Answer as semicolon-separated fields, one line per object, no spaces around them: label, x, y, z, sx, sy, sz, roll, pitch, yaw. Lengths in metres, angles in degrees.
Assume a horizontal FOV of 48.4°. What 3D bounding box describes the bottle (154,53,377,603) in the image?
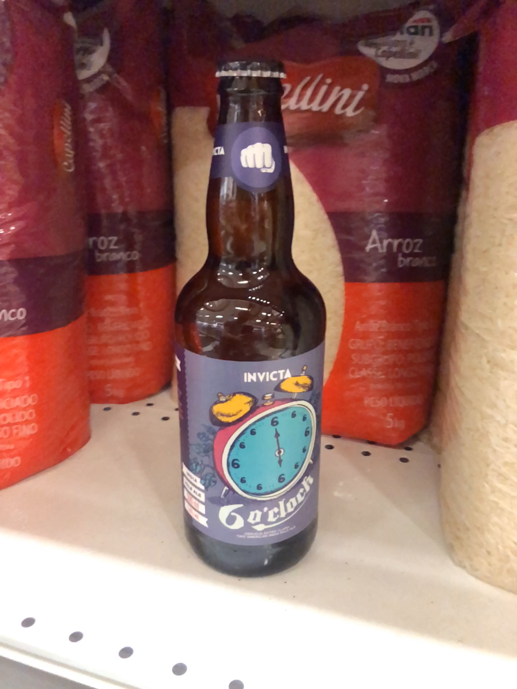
bottle;-0.003;-0.003;0.264;0.070;0.228;0.070;0;22;0
